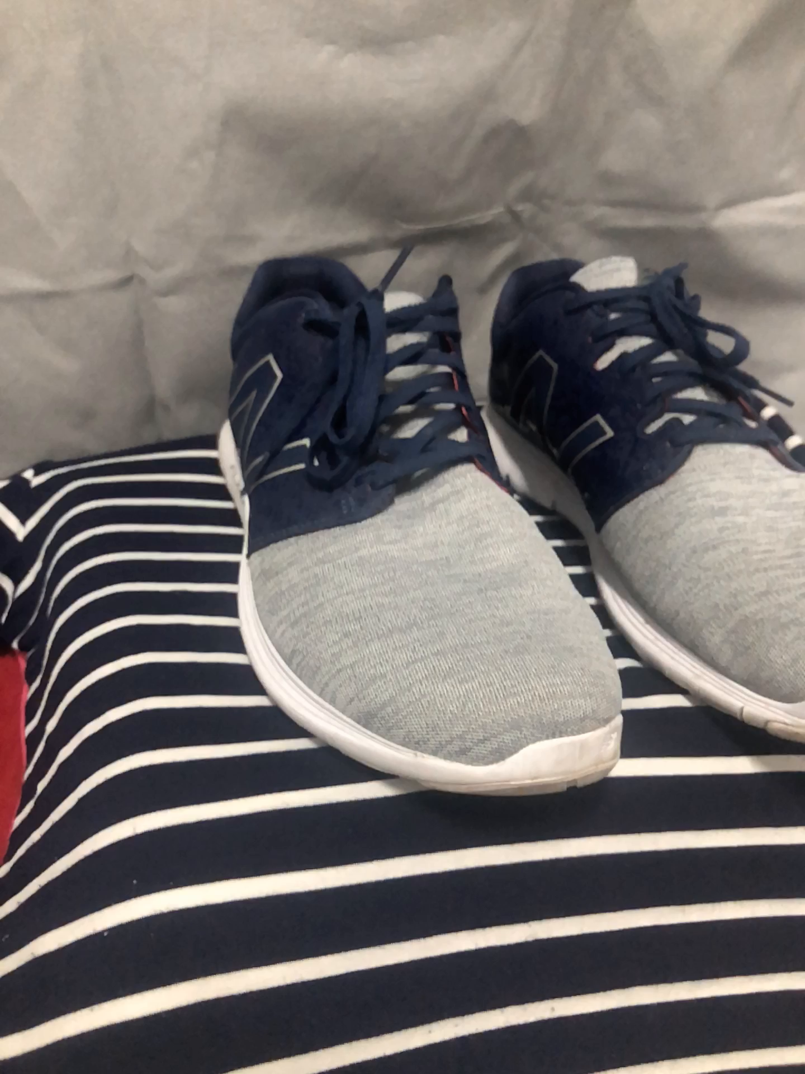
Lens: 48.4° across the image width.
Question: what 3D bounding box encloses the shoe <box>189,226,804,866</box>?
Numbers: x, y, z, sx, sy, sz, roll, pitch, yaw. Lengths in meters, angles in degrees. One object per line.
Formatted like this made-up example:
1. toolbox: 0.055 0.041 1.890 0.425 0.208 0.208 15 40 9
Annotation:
1. shoe: -0.005 -0.041 0.359 0.120 0.089 0.323 -8 32 -15

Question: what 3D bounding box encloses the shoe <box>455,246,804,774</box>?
1. shoe: 0.123 -0.041 0.355 0.120 0.079 0.262 -8 32 -15
